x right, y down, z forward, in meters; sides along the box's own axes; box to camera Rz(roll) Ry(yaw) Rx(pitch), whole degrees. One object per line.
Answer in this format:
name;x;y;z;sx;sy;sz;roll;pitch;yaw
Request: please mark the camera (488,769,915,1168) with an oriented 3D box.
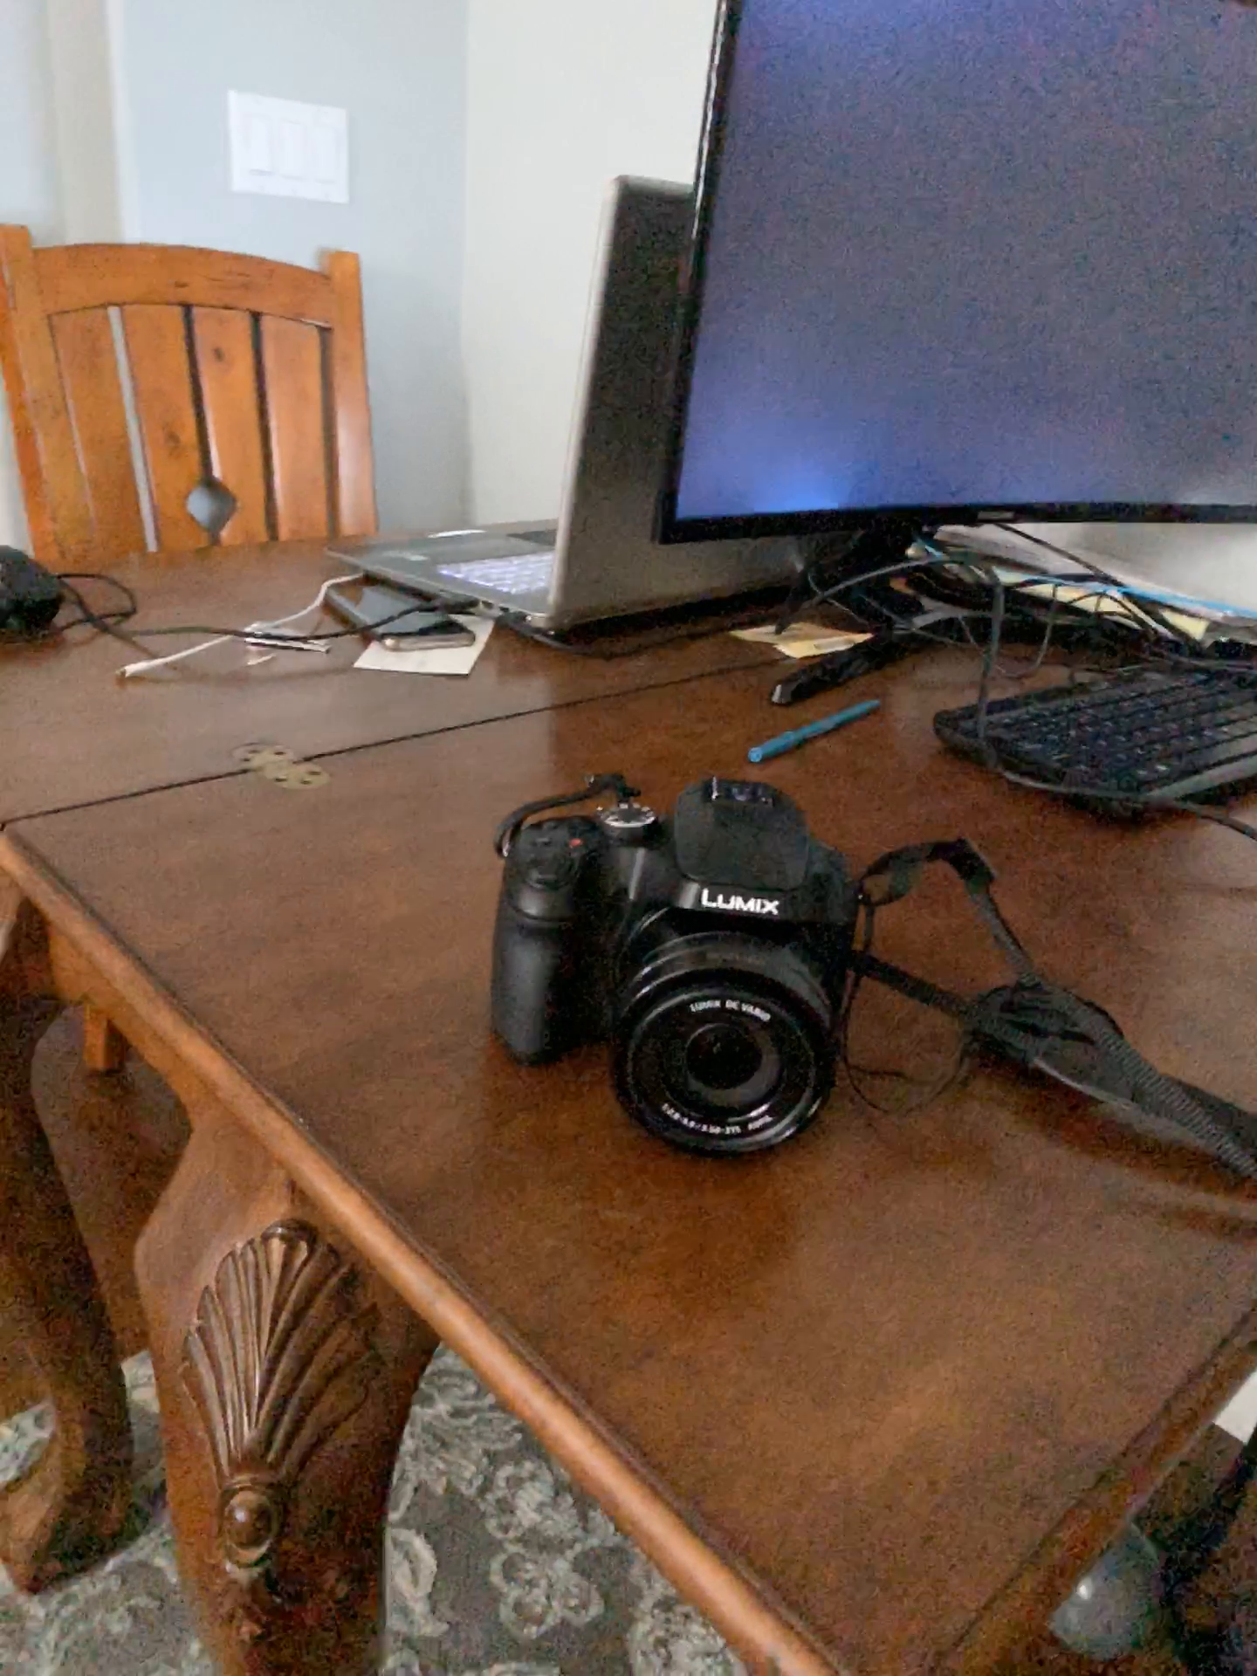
camera;0.023;0.042;0.471;0.130;0.089;0.111;5;24;0
